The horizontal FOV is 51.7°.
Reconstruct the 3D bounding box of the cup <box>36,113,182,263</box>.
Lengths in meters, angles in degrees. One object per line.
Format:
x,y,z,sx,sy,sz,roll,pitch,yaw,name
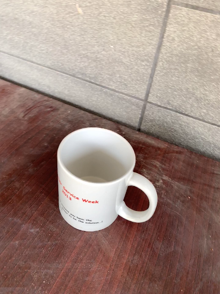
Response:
0.000,0.043,0.259,0.120,0.100,0.090,20,44,12,cup
